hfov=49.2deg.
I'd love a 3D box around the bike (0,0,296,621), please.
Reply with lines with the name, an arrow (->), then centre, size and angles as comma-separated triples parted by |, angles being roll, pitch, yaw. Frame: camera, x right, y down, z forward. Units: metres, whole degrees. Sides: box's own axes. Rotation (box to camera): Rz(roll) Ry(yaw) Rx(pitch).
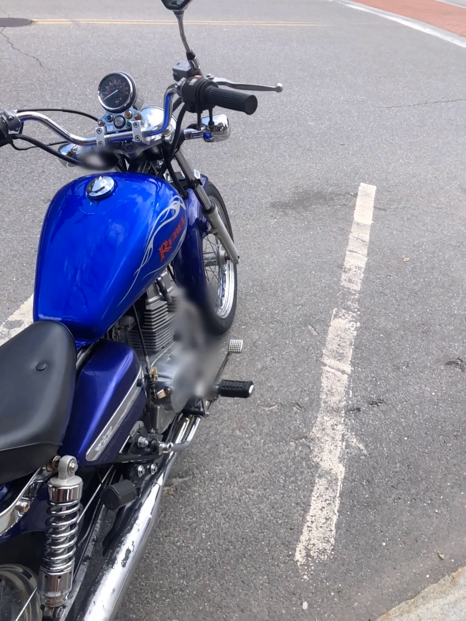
bike -> -0.420, -0.059, 1.254 | 0.787, 1.036, 1.923 | 10, 41, 9
